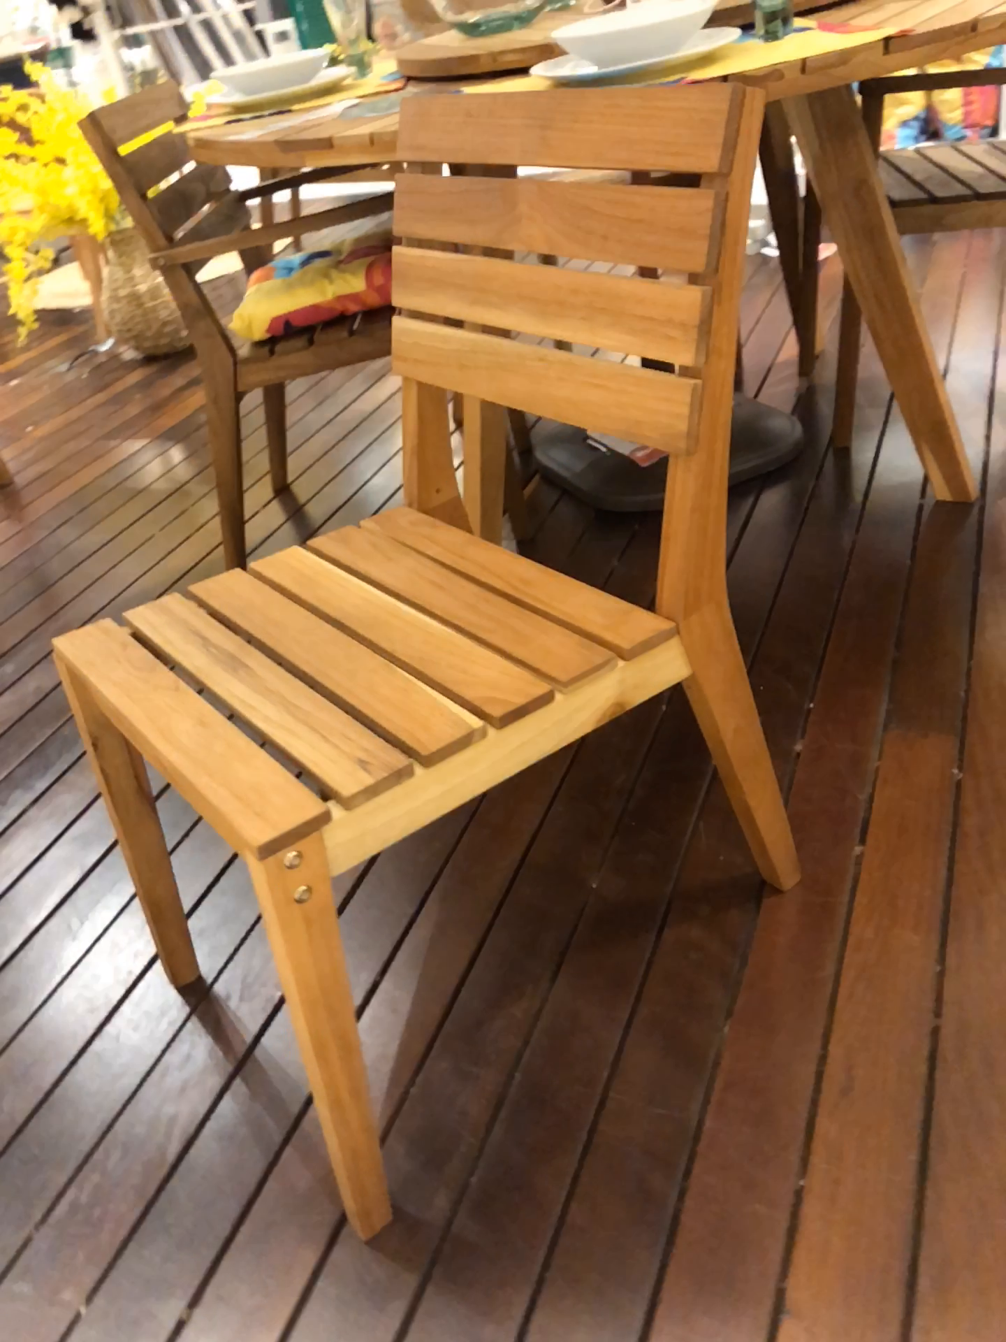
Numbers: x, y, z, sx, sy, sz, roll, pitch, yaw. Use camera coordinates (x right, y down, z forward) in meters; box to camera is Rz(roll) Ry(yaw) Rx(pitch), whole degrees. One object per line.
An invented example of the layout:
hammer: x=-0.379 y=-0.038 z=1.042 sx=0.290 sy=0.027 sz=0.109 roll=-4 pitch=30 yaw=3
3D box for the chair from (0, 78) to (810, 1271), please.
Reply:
chair: x=-0.112 y=-0.039 z=1.005 sx=0.602 sy=0.764 sz=0.462 roll=-31 pitch=37 yaw=-27
